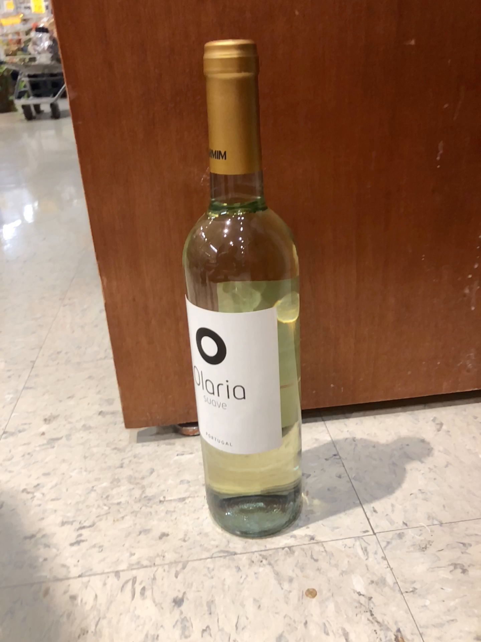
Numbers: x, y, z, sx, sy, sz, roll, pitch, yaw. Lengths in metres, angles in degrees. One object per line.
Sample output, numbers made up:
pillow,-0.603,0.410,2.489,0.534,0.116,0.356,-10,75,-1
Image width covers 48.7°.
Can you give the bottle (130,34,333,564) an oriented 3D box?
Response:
bottle,0.006,-0.001,0.342,0.080,0.318,0.070,12,29,31
